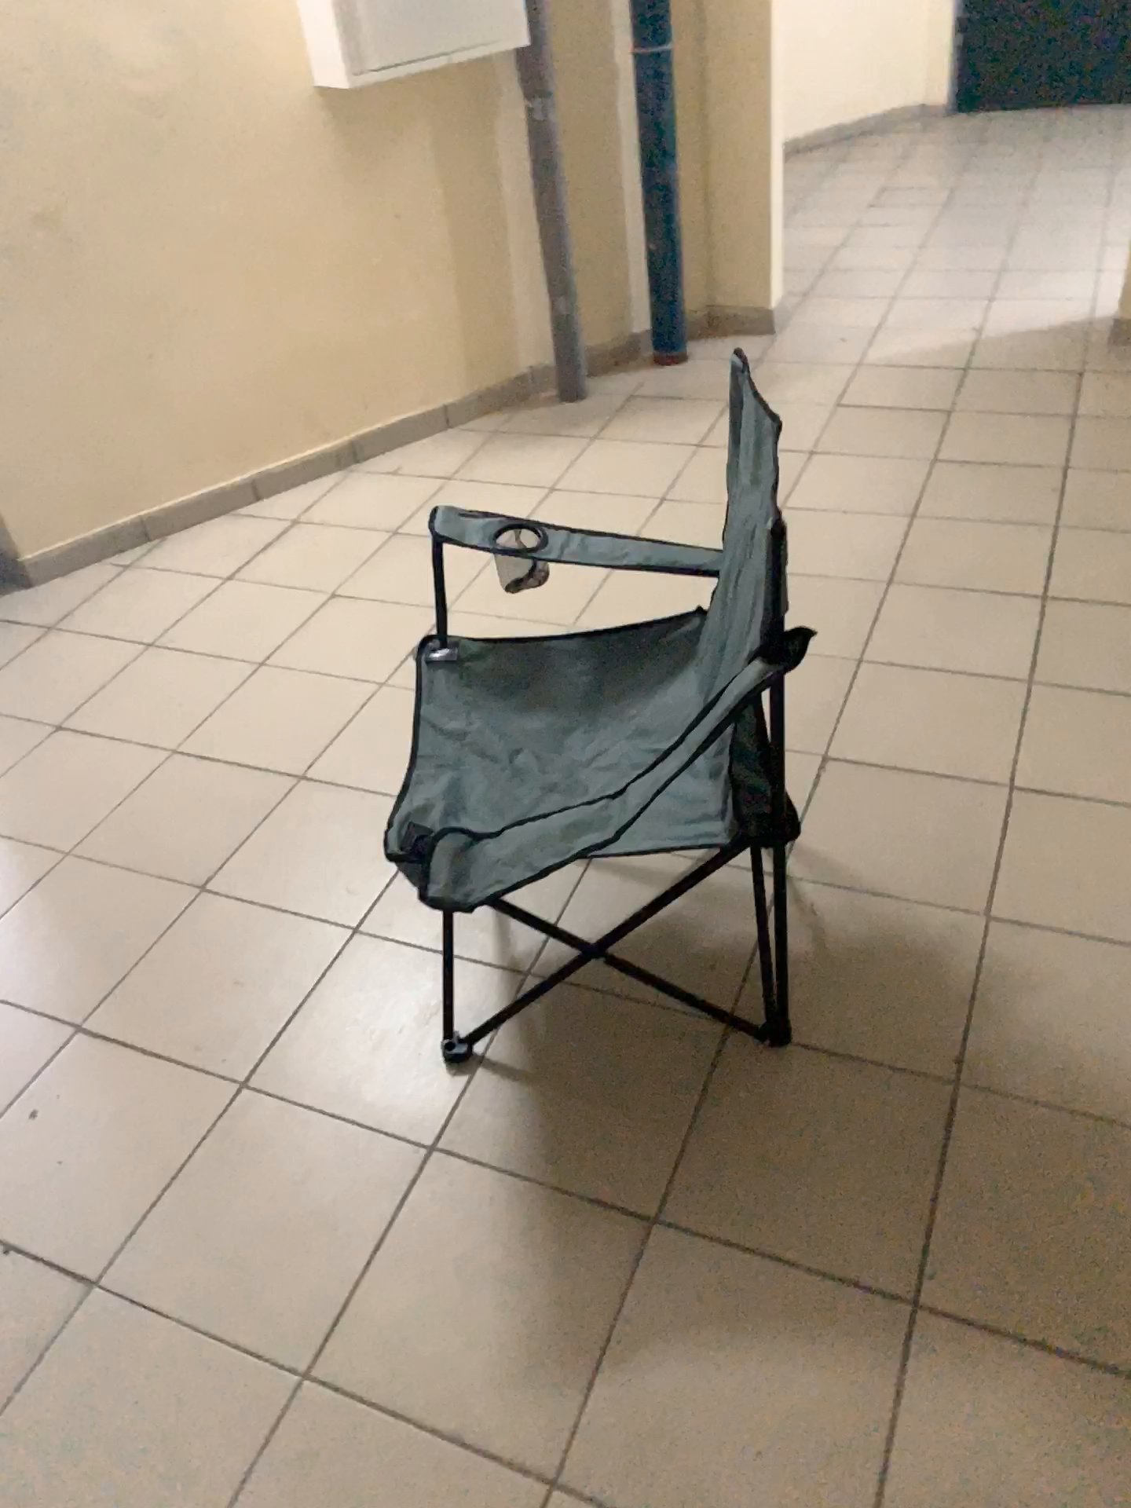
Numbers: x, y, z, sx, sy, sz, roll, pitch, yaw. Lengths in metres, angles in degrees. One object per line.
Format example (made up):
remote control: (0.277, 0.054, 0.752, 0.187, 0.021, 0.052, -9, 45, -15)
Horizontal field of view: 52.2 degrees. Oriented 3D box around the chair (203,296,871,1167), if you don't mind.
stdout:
chair: (0.011, -0.057, 1.508, 0.560, 0.756, 0.804, -6, 37, 4)
